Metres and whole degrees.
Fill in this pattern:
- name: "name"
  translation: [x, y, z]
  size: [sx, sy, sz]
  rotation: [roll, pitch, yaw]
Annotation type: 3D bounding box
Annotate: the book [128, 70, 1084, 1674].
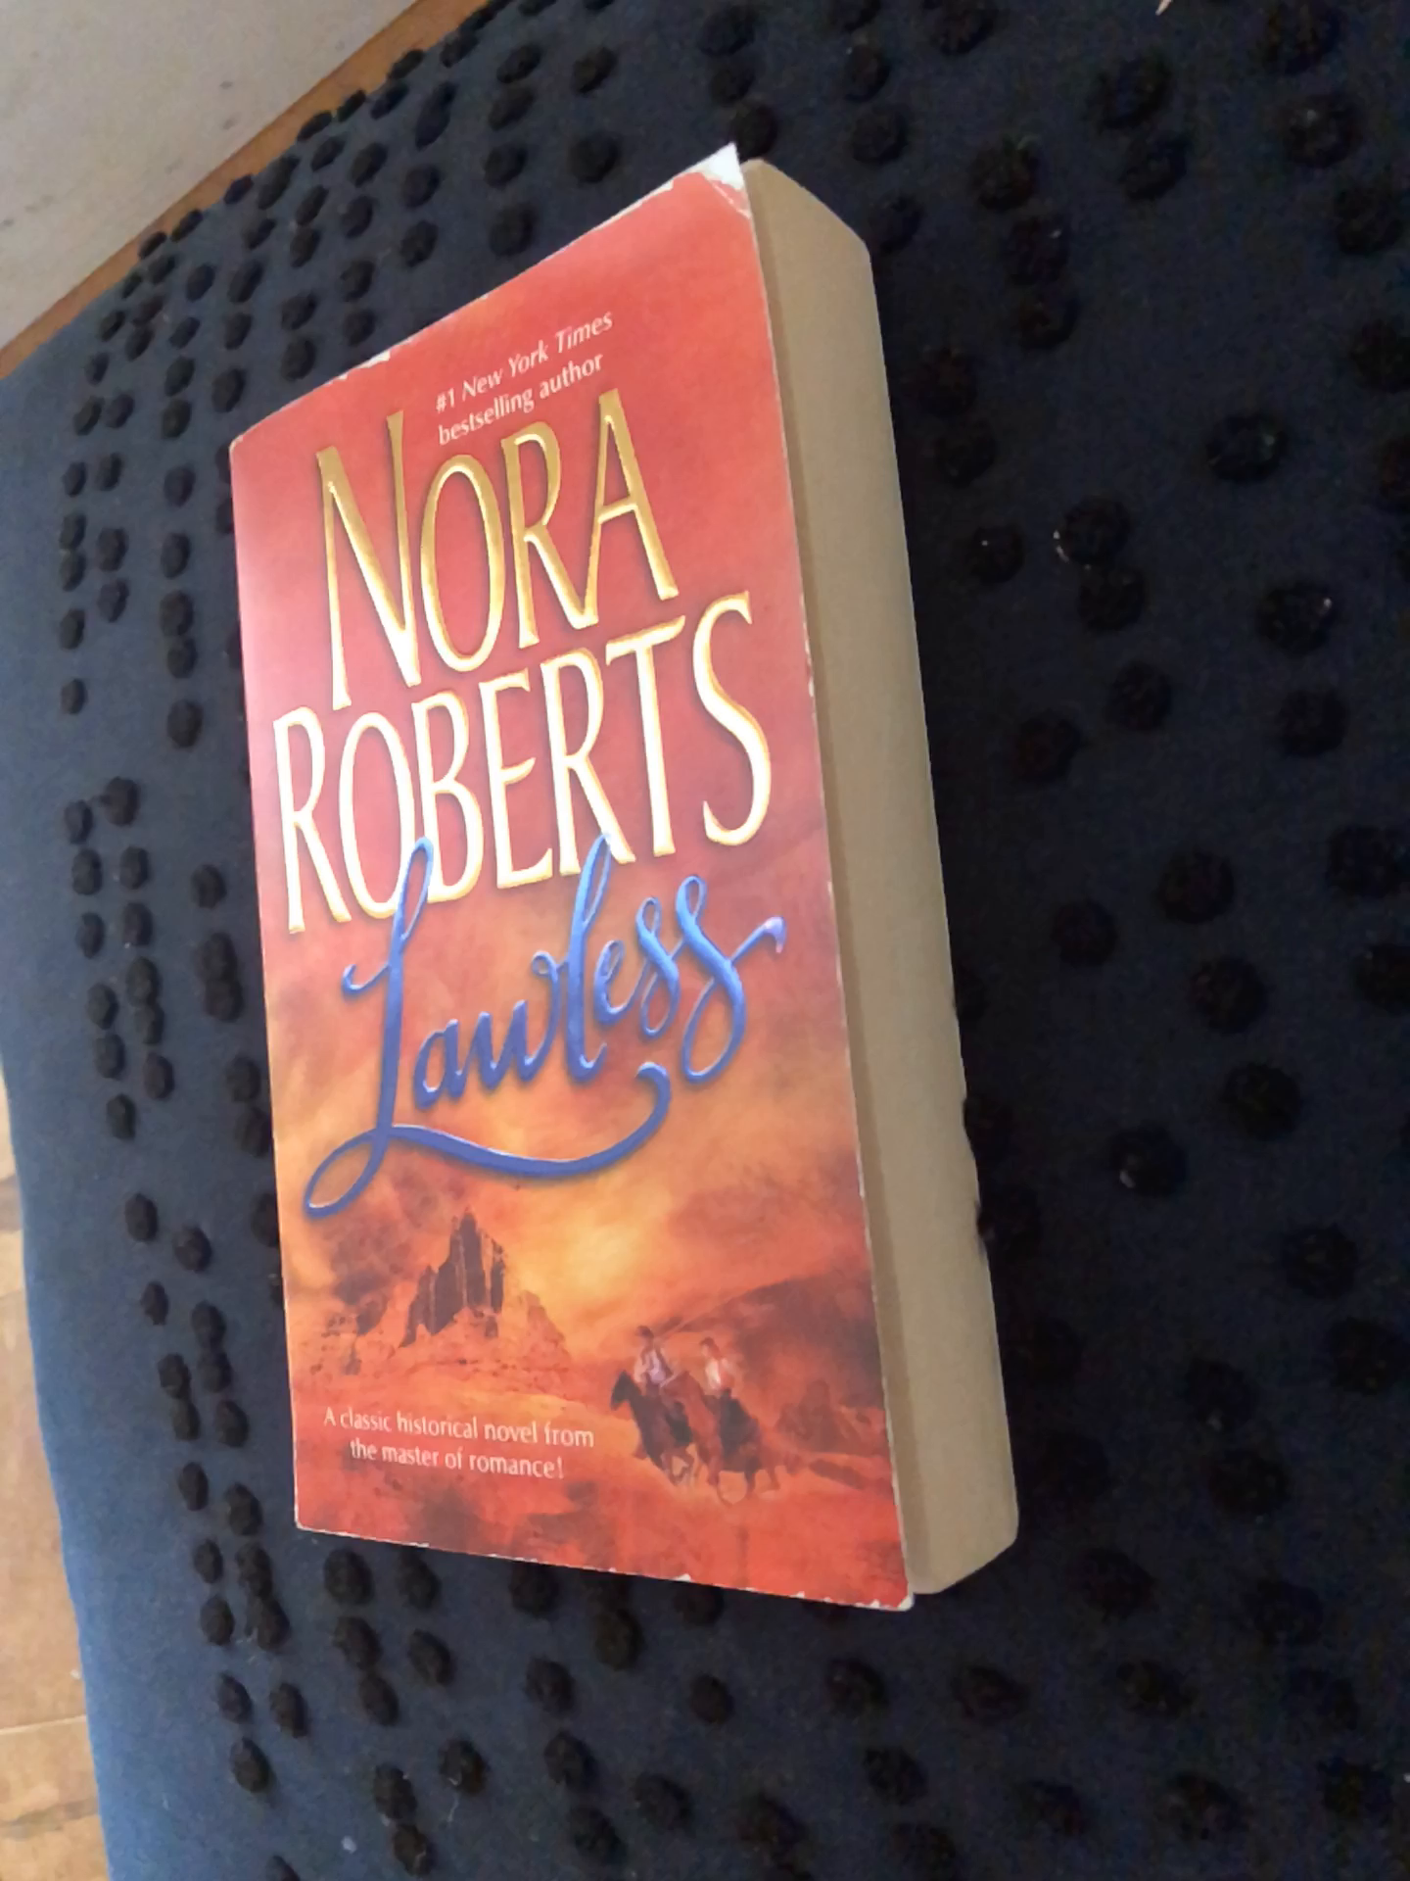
- name: "book"
  translation: [-0.021, -0.004, 0.221]
  size: [0.120, 0.040, 0.180]
  rotation: [-9, 83, 31]
